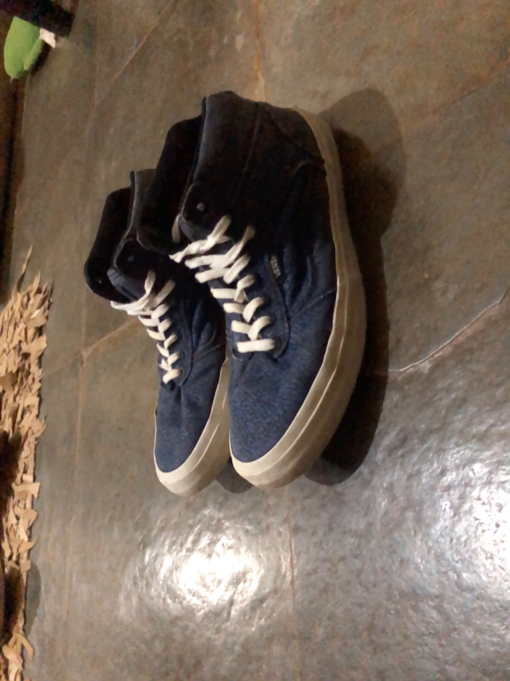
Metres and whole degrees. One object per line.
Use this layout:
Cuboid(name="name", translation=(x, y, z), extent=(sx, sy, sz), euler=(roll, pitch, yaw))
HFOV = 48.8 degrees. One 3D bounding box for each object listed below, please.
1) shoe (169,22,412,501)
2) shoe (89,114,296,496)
Cuboid(name="shoe", translation=(0.018, -0.039, 0.378), extent=(0.120, 0.090, 0.280), euler=(-18, 66, 49))
Cuboid(name="shoe", translation=(-0.054, -0.018, 0.471), extent=(0.120, 0.109, 0.280), euler=(-22, 63, 48))
